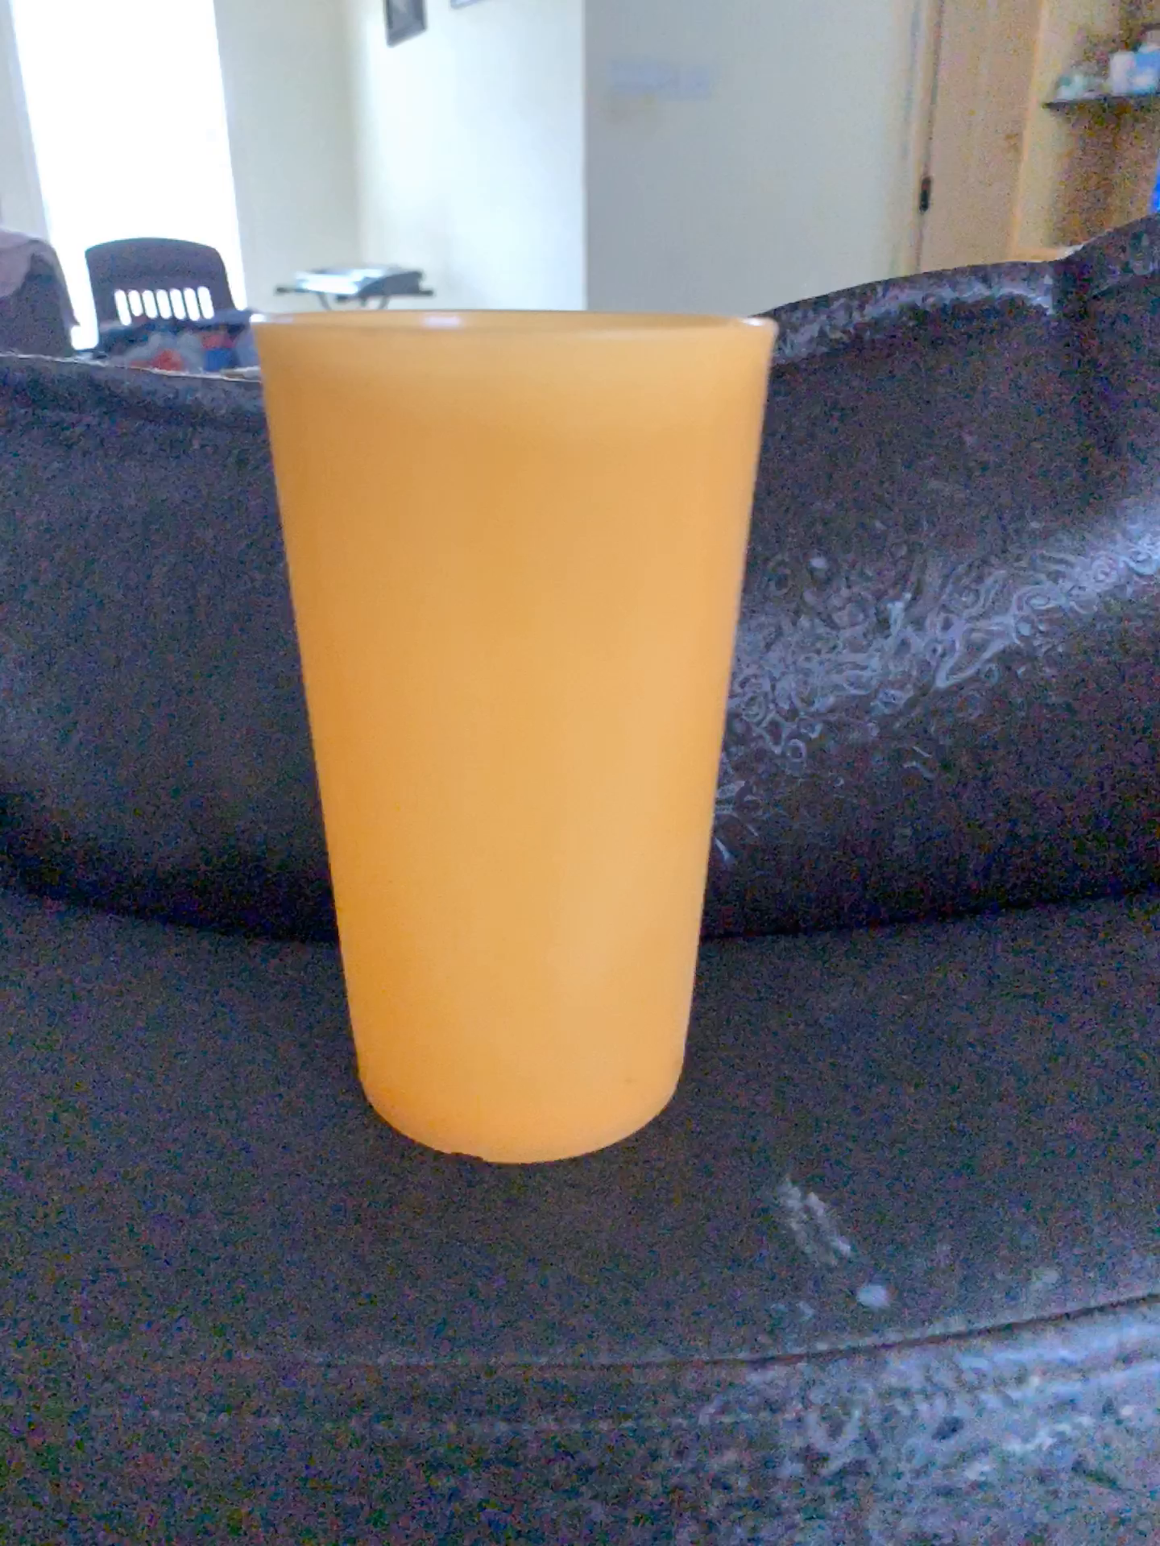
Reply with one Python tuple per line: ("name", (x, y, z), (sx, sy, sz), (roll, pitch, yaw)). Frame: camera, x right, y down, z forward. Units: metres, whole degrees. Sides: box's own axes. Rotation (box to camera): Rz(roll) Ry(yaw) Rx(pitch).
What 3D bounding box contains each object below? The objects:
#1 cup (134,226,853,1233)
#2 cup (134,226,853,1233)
("cup", (-0.007, -0.014, 0.187), (0.070, 0.129, 0.070), (0, 24, 0))
("cup", (-0.007, -0.014, 0.187), (0.070, 0.129, 0.070), (0, 24, 0))
